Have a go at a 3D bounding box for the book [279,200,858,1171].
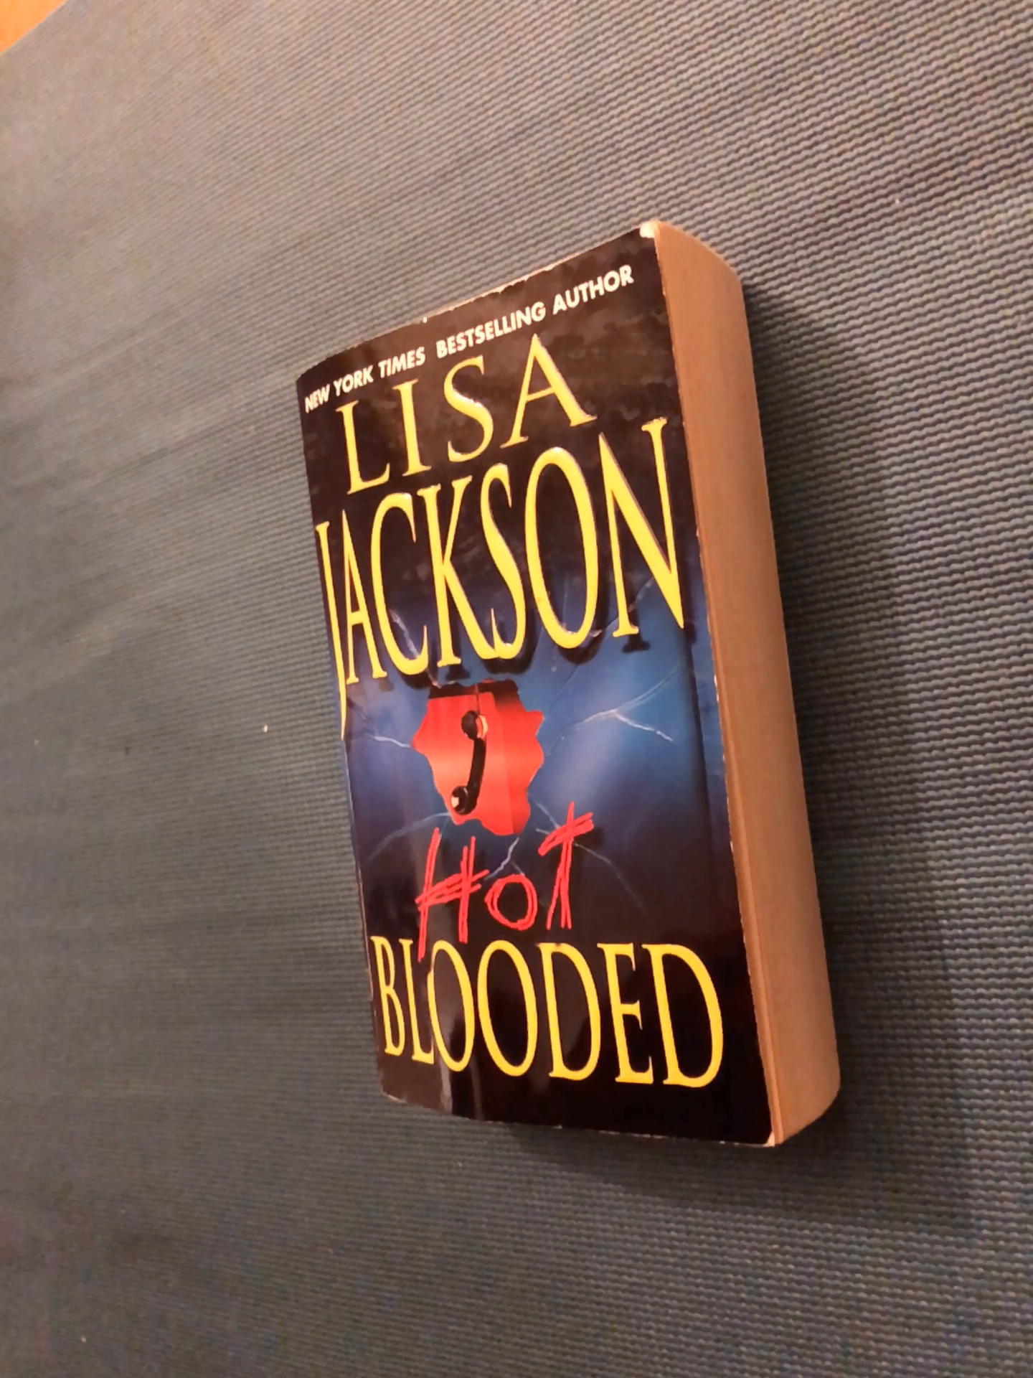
[{"bbox_3d":[0.006,0.003,0.249,0.104,0.040,0.171,-8,88,39],"label":"book"}]
